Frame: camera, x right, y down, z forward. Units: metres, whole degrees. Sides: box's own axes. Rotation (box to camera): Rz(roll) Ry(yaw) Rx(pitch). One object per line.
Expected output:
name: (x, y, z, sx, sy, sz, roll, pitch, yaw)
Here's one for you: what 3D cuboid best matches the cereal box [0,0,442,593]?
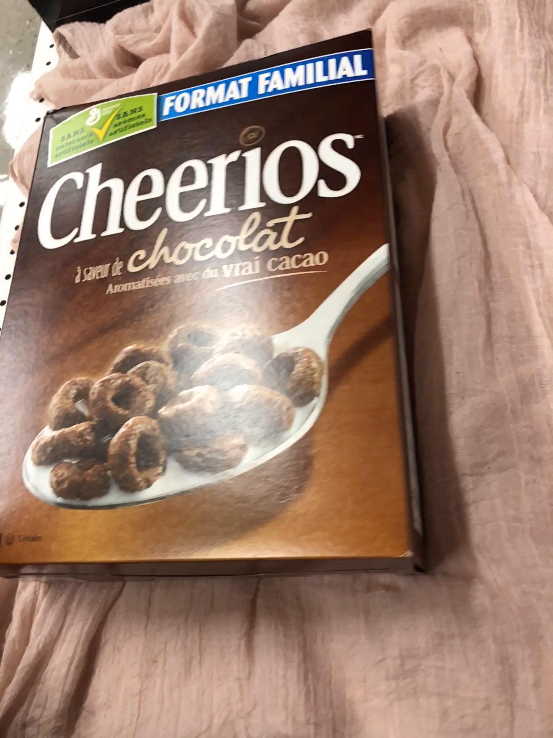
cereal box: (-0.036, -0.043, 0.374, 0.230, 0.090, 0.330, -6, 64, 16)
